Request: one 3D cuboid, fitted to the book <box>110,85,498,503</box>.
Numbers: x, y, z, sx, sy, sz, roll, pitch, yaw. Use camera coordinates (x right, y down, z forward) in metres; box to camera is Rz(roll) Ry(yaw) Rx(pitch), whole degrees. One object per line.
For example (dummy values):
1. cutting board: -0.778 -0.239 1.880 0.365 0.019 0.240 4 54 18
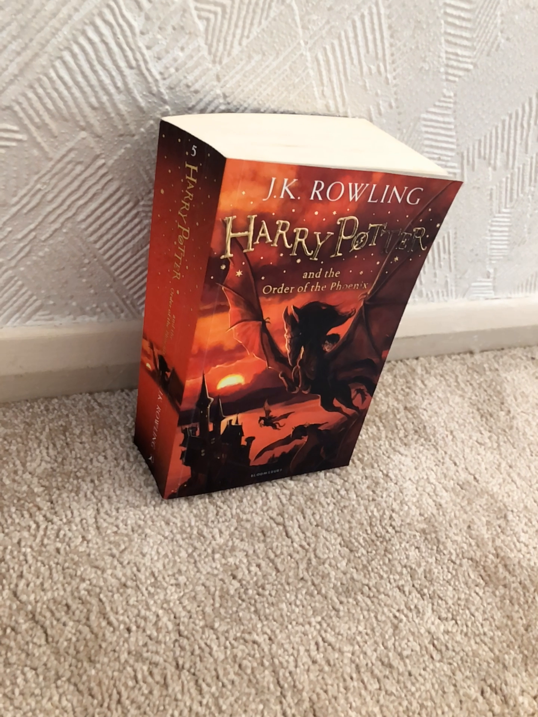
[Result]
1. book: 0.003 -0.030 0.335 0.147 0.189 0.092 -4 39 -28
